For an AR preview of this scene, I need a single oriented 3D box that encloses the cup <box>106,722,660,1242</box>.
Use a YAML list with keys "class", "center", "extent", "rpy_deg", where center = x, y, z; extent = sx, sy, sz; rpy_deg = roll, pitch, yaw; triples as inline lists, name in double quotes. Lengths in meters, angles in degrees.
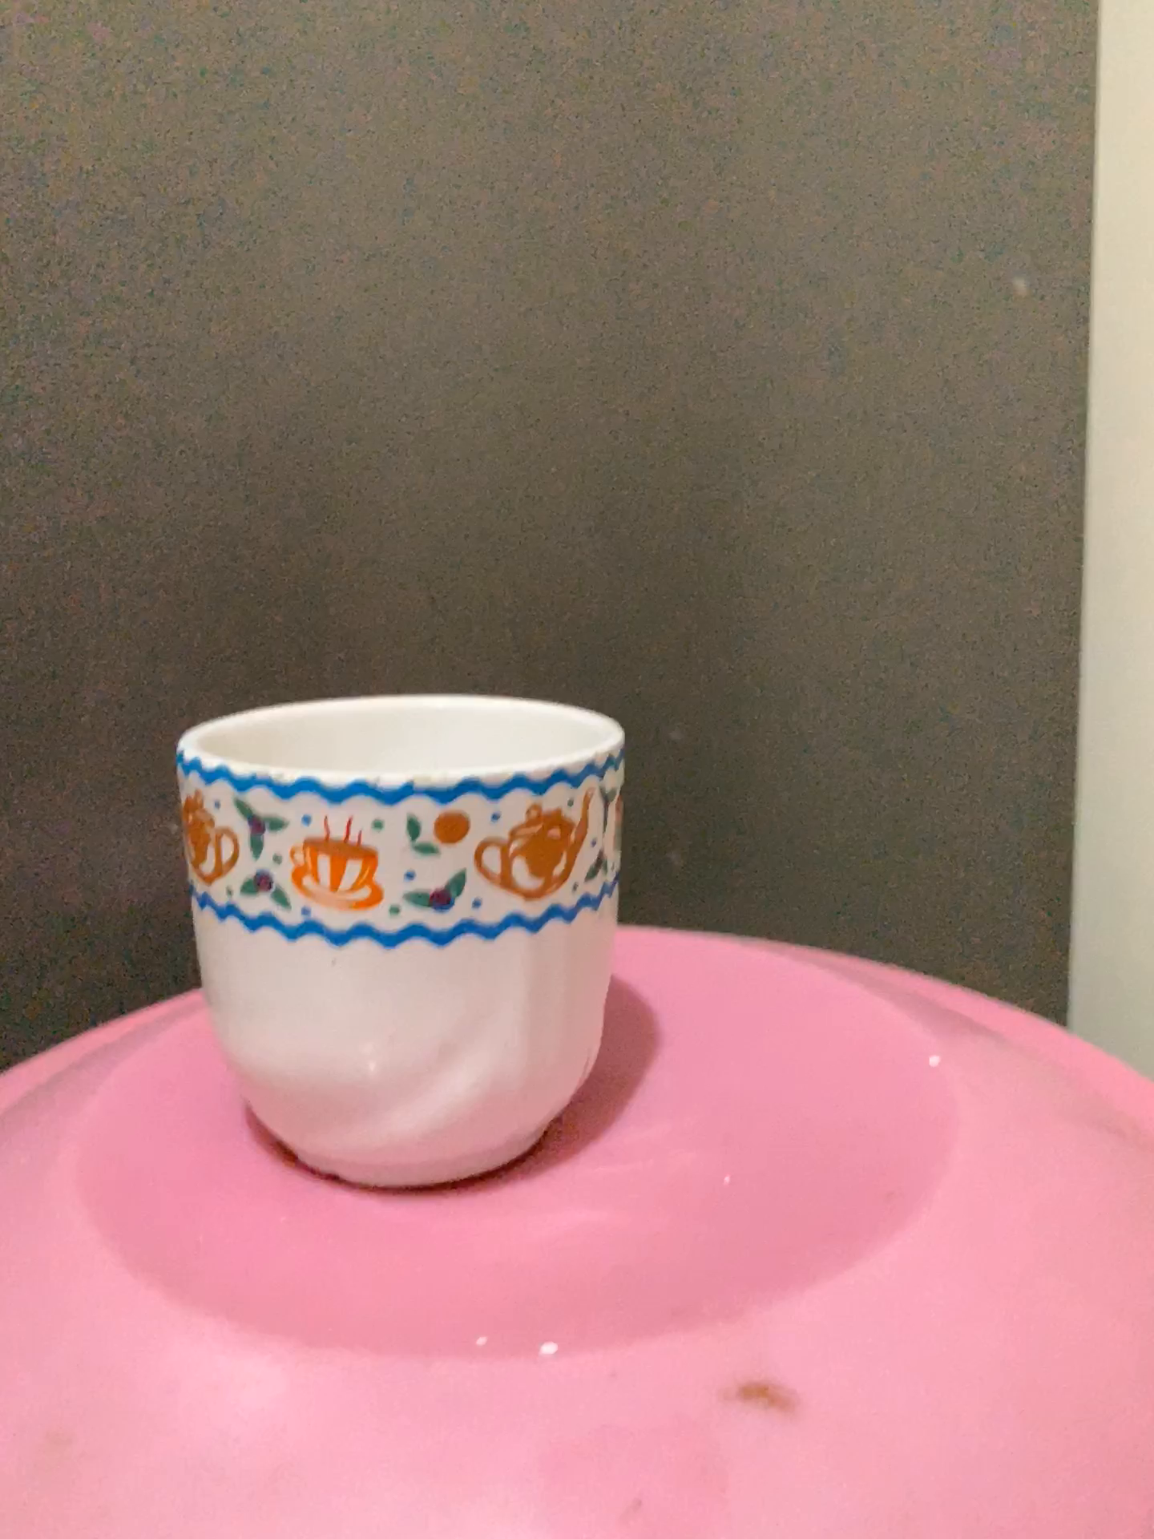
- class: "cup"
  center: [-0.024, 0.028, 0.195]
  extent: [0.070, 0.060, 0.070]
  rpy_deg: [-2, 9, 0]
